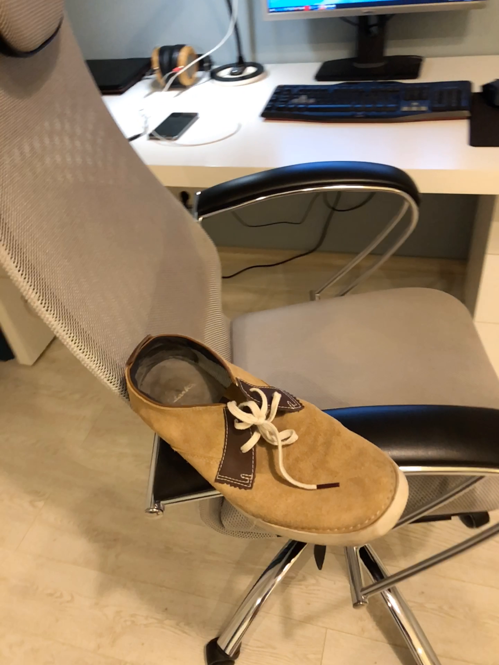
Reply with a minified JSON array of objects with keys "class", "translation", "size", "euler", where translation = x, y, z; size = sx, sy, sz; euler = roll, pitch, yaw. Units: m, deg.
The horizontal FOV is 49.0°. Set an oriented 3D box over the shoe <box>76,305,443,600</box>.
[{"class":"shoe","translation":[-0.002,0.086,0.501],"size":[0.310,0.079,0.121],"euler":[23,50,31]}]
